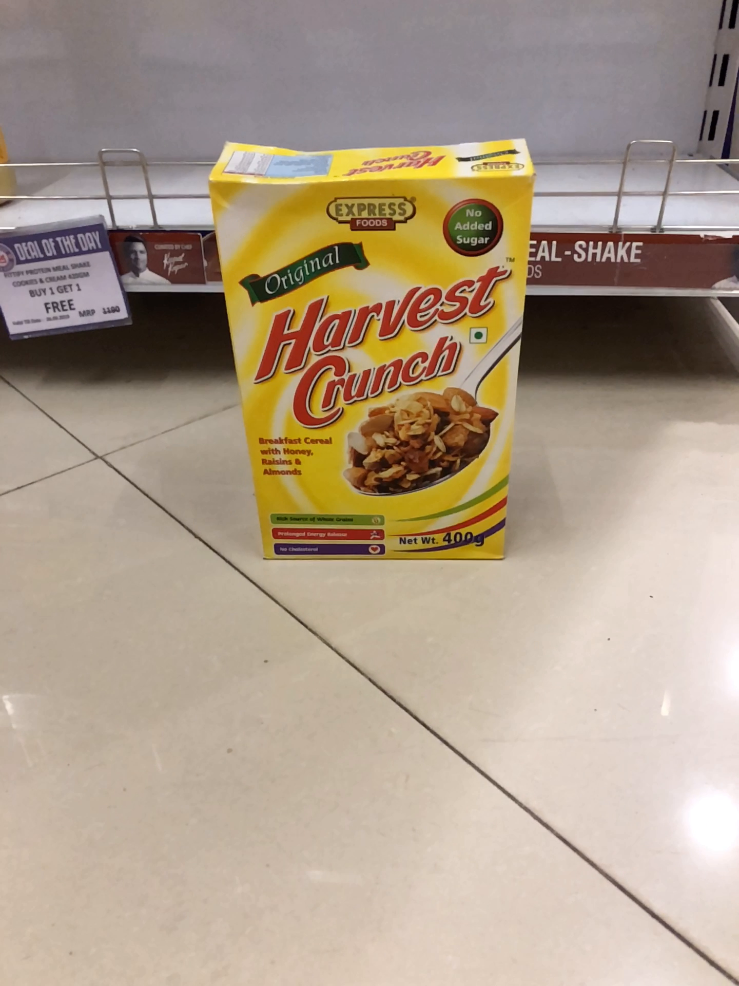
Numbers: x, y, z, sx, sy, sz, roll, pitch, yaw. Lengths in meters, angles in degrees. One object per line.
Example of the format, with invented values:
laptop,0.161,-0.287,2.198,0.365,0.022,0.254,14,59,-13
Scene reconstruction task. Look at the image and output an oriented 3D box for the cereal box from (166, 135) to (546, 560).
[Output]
cereal box,-0.003,-0.066,0.420,0.160,0.209,0.050,-1,32,1
